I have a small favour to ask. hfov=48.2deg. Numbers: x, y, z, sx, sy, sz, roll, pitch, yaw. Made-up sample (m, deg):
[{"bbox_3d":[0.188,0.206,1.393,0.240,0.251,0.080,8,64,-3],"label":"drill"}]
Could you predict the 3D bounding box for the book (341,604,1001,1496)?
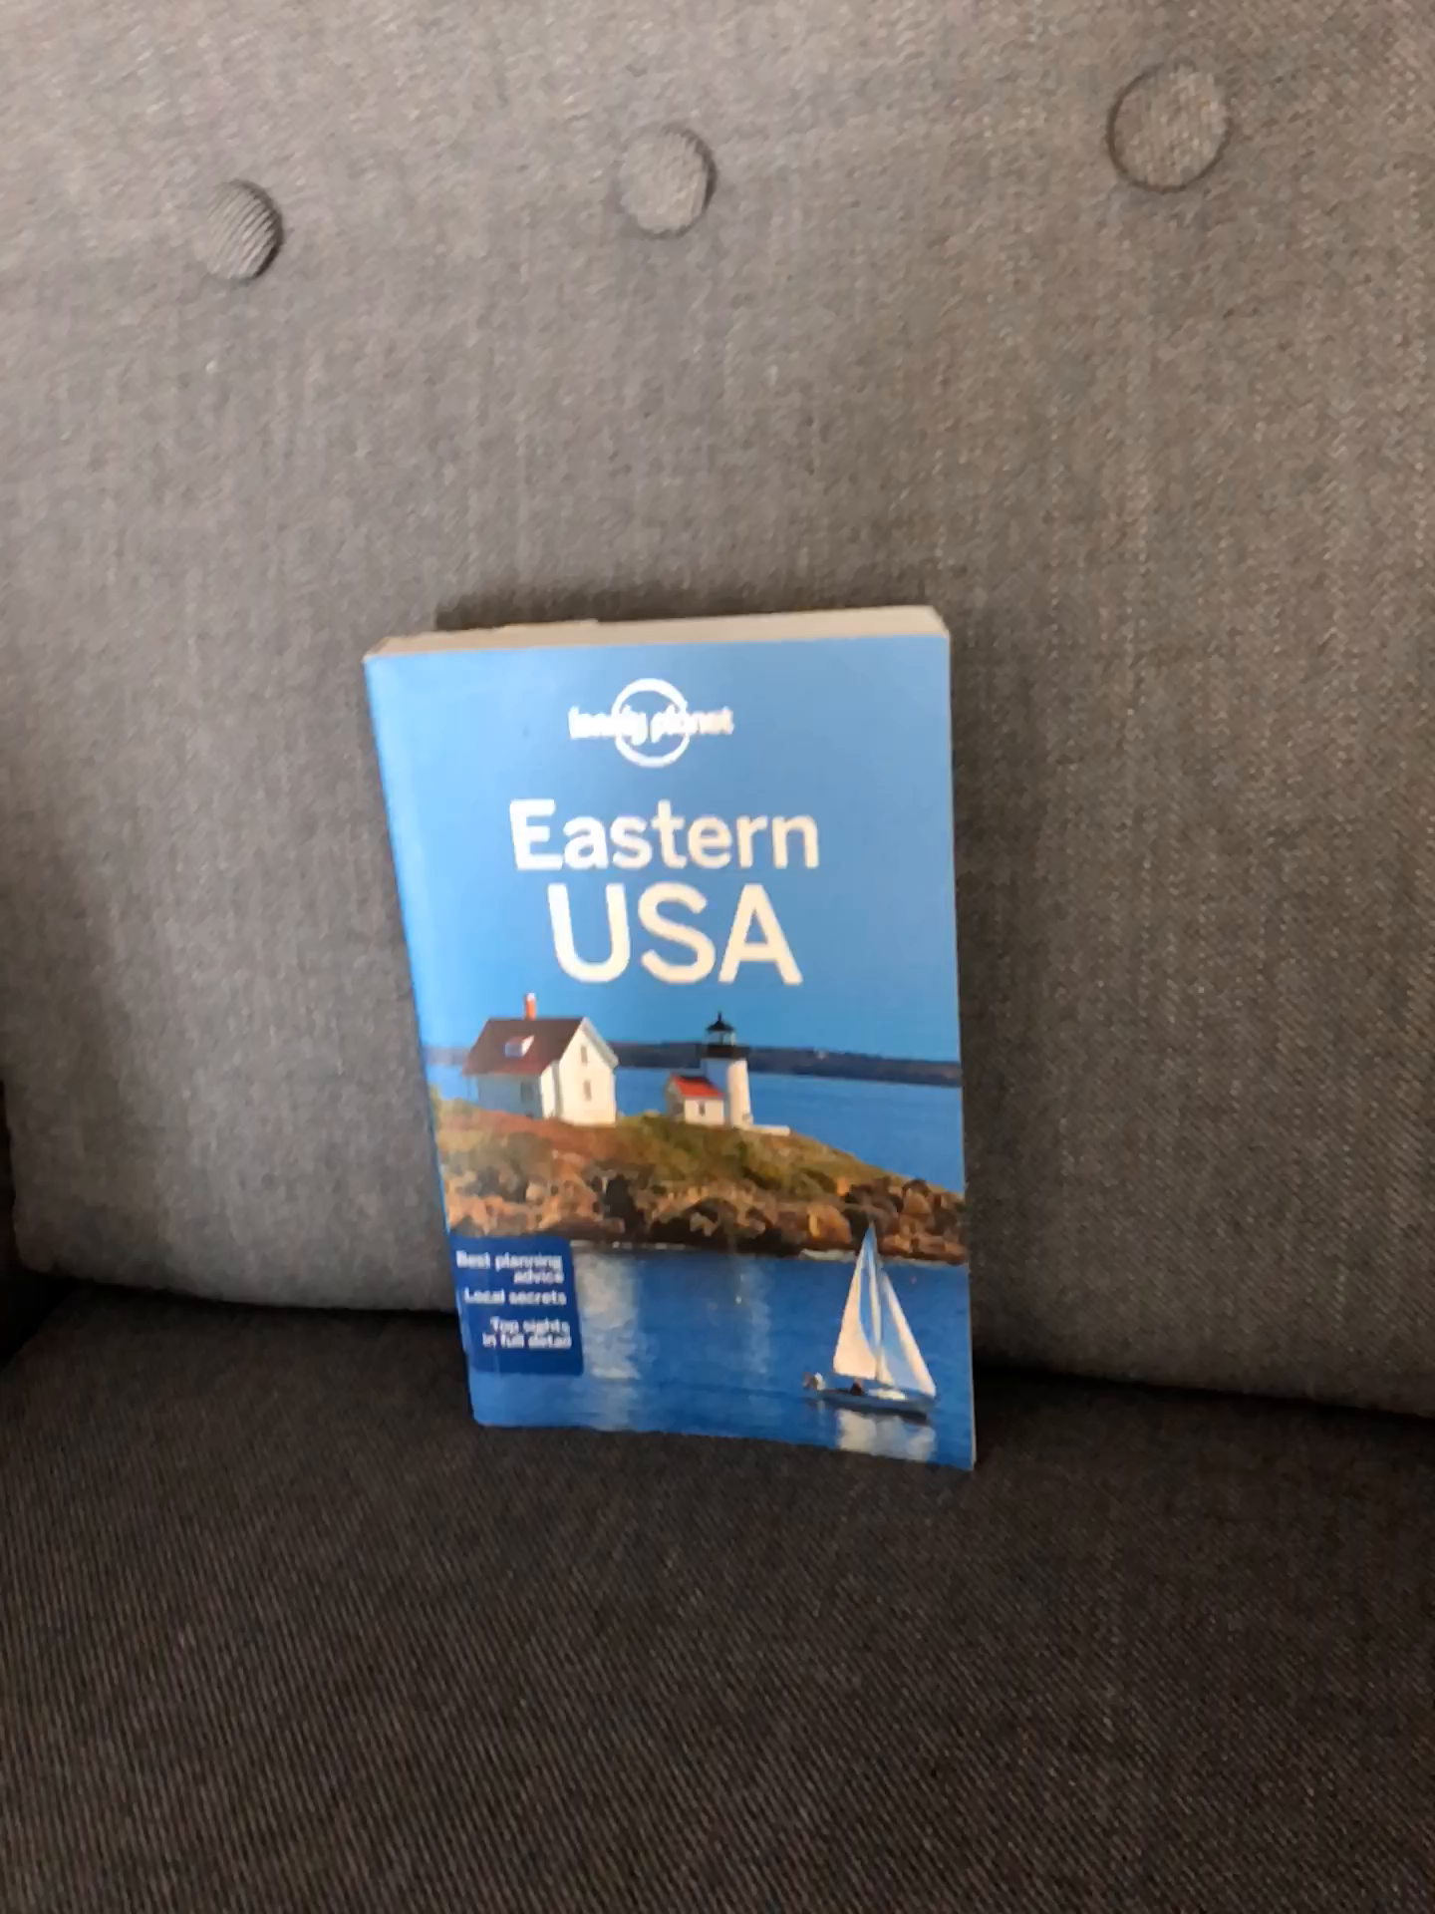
[{"bbox_3d":[-0.005,0.023,0.380,0.134,0.199,0.039,2,20,18],"label":"book"}]
